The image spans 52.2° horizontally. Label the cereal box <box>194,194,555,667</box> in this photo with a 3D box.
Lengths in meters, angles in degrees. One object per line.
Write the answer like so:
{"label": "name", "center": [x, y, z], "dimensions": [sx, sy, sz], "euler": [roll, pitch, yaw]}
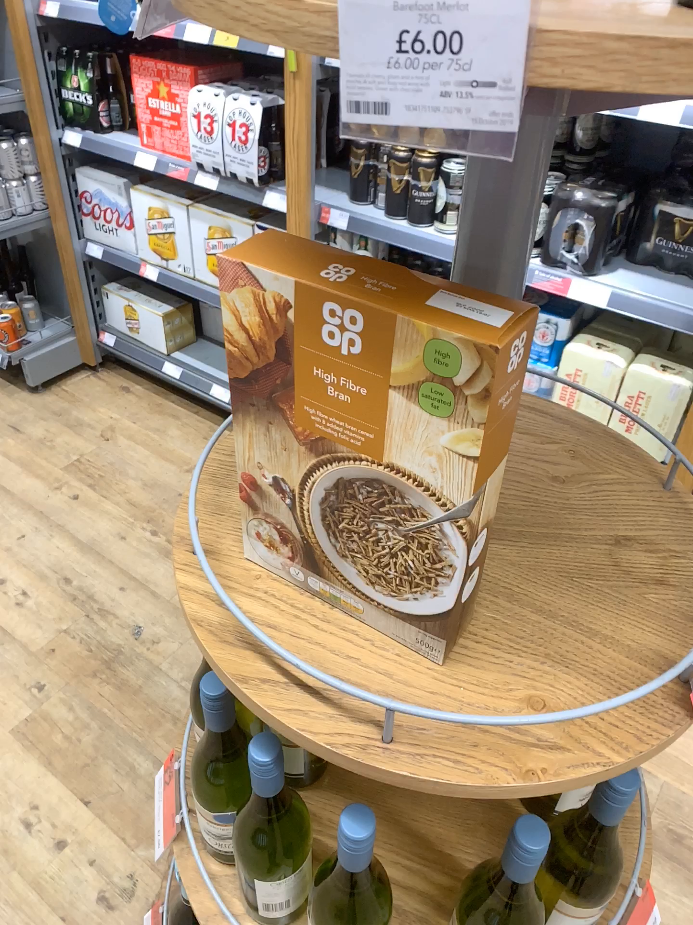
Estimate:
{"label": "cereal box", "center": [0.007, -0.013, 0.482], "dimensions": [0.201, 0.277, 0.060], "euler": [23, 43, 24]}
